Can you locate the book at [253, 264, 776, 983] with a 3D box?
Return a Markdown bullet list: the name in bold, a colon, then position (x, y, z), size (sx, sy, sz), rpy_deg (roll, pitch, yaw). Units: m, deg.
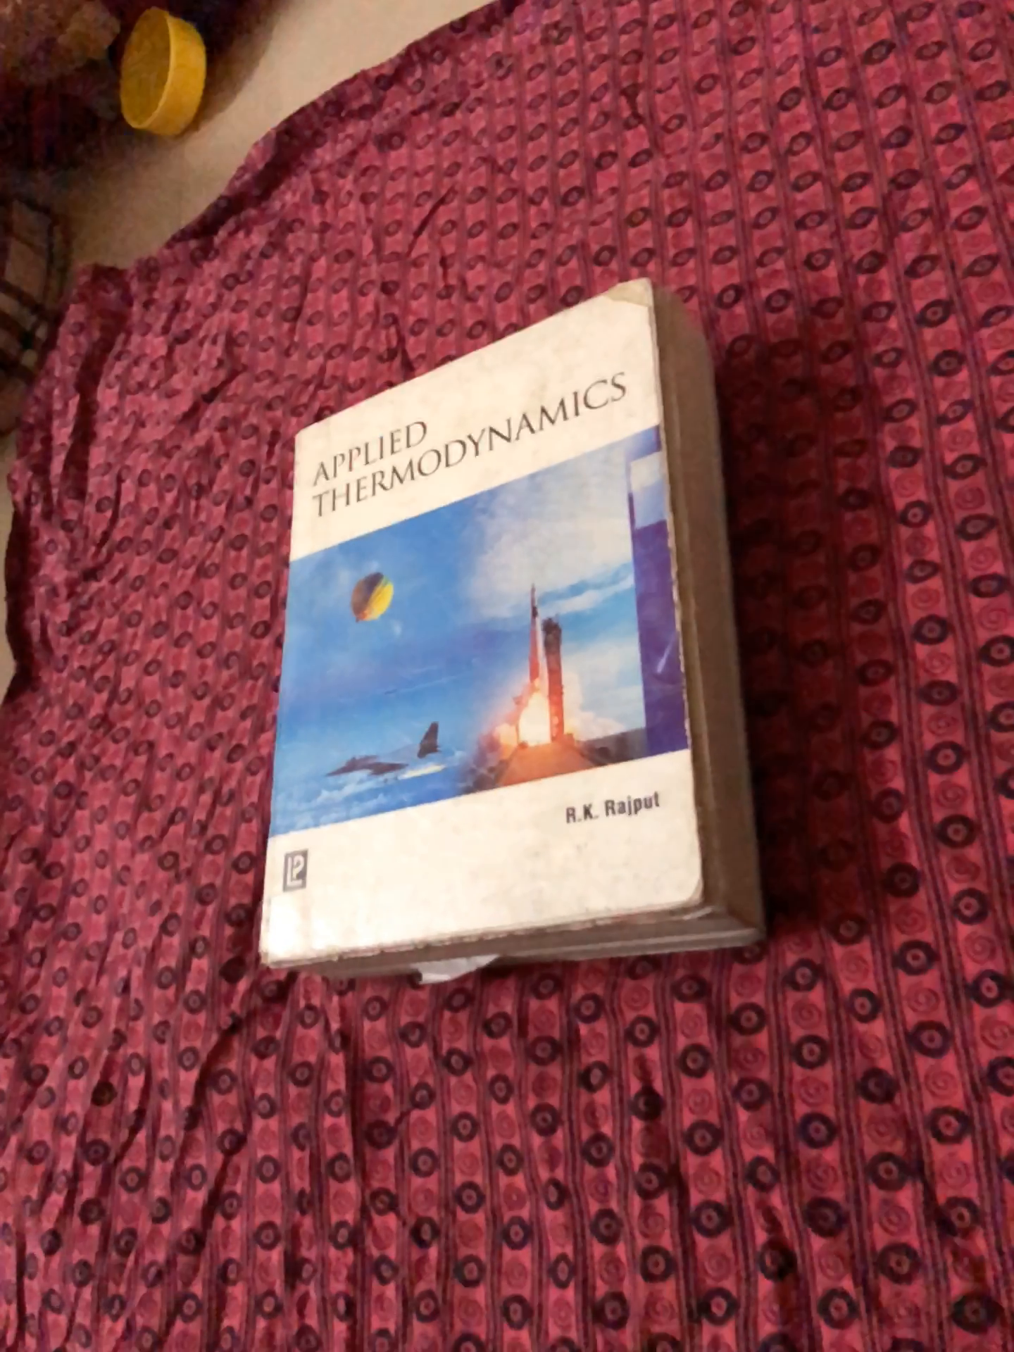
- **book**: position (-0.003, -0.014, 0.438), size (0.179, 0.060, 0.240), rpy_deg (-15, 63, 30)
